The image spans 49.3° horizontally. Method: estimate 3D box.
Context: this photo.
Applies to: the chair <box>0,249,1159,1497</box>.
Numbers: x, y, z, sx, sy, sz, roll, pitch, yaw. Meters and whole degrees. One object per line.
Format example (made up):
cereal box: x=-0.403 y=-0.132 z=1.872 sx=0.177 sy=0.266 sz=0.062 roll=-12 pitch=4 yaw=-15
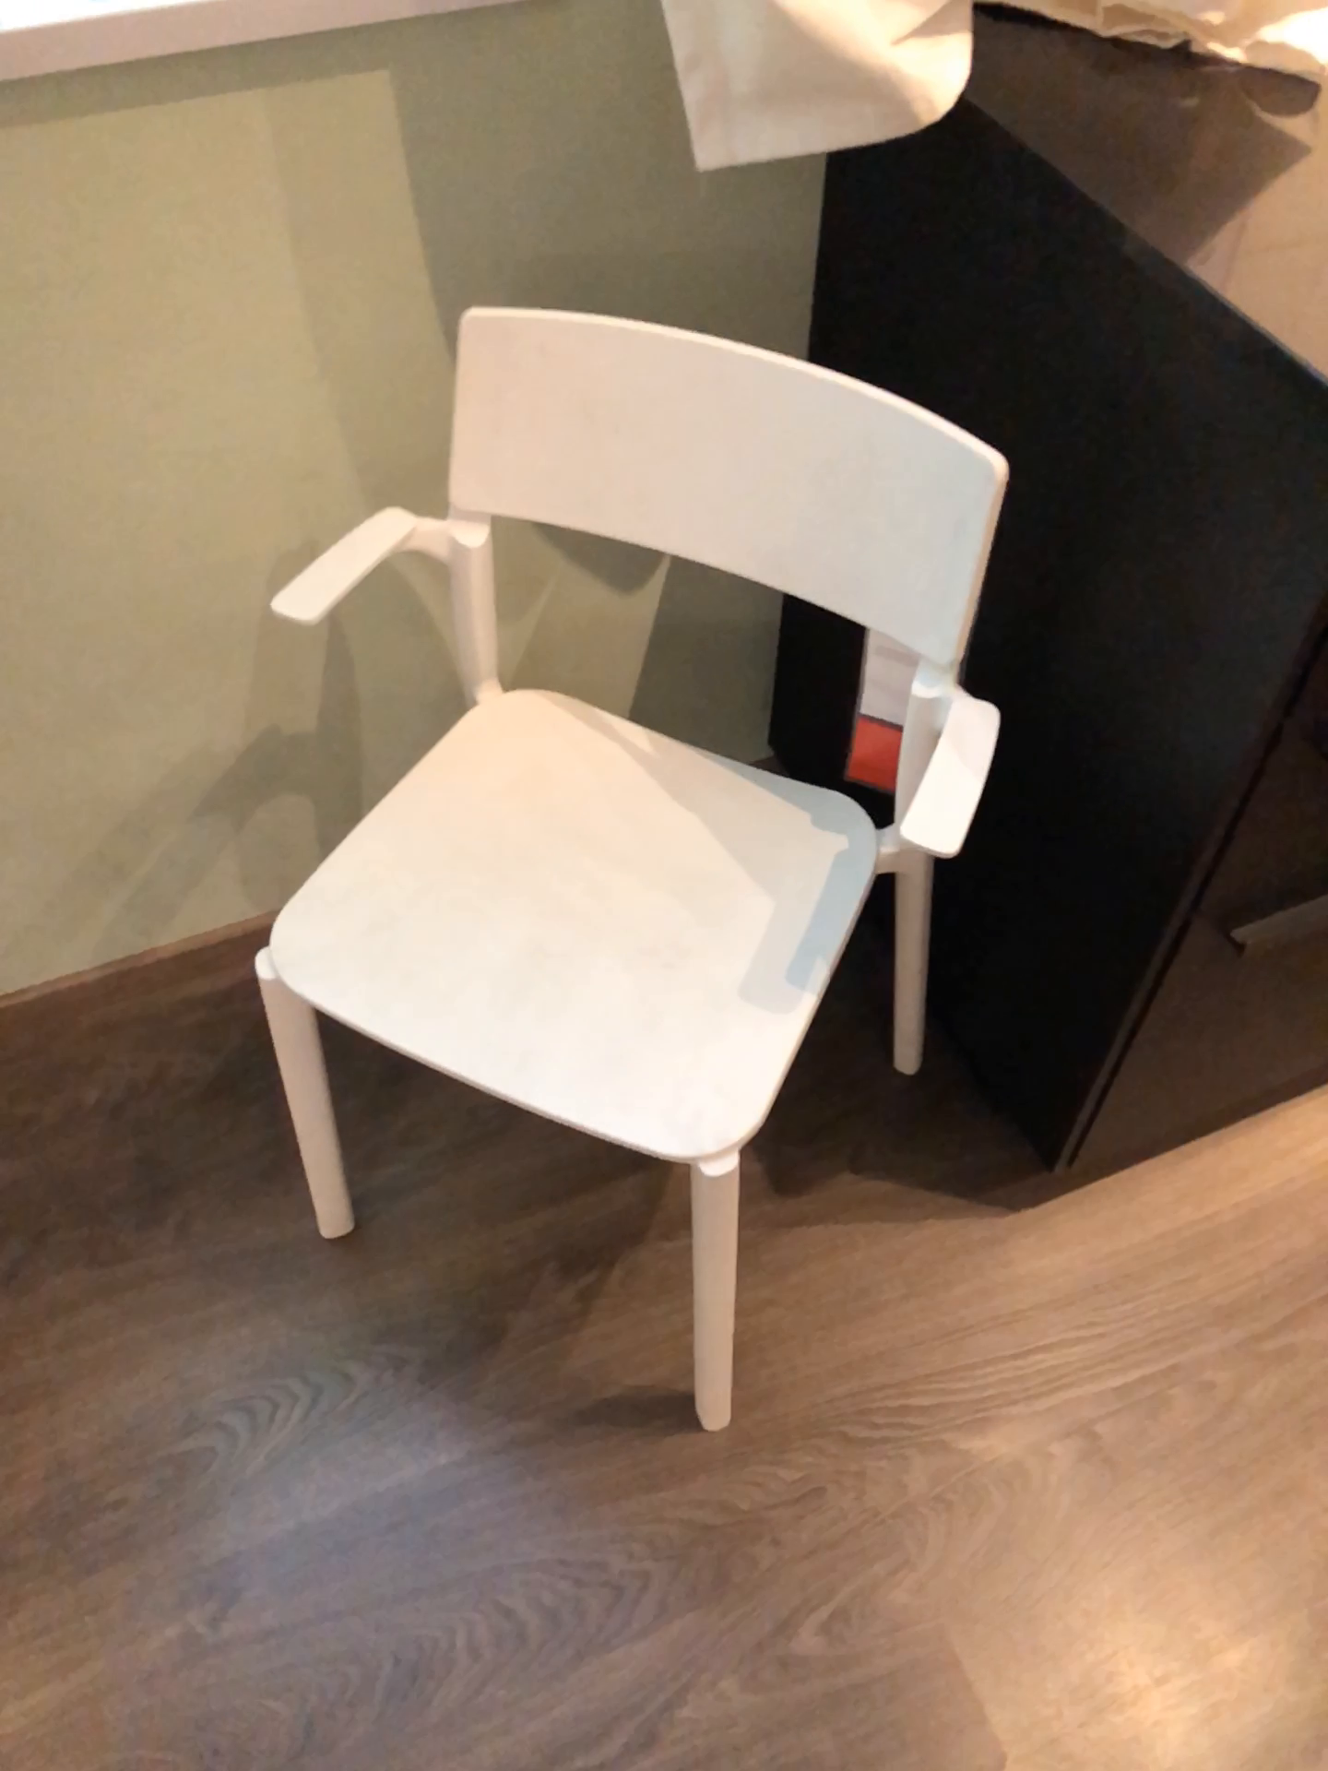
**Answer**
chair: x=-0.023 y=0.009 z=1.247 sx=0.561 sy=0.756 sz=0.583 roll=21 pitch=53 yaw=17
